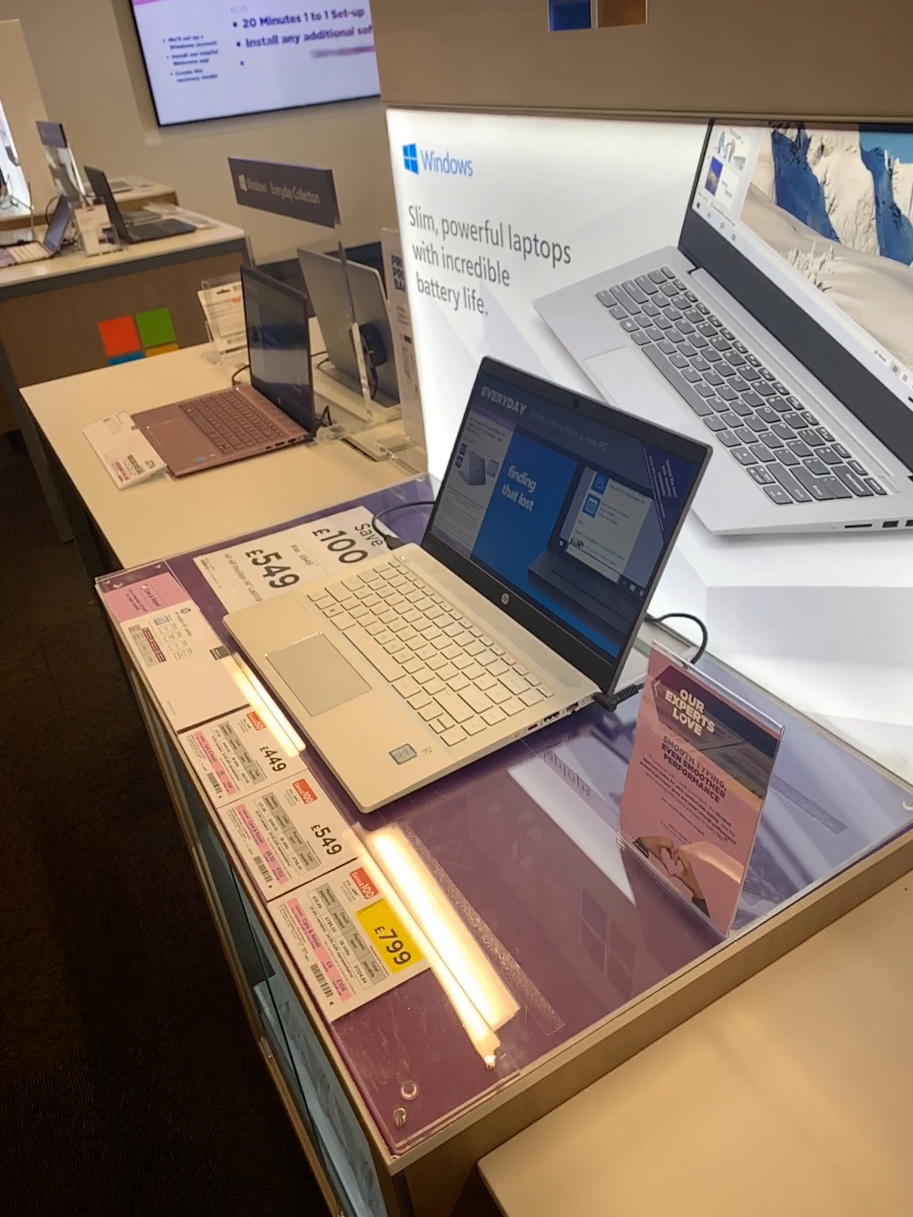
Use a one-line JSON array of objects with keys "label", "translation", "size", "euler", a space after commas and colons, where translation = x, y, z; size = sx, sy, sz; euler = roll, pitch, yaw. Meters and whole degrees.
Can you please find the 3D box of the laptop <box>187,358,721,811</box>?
[{"label": "laptop", "translation": [-0.011, -0.053, 0.801], "size": [0.323, 0.171, 0.315], "euler": [-23, 35, -22]}]
